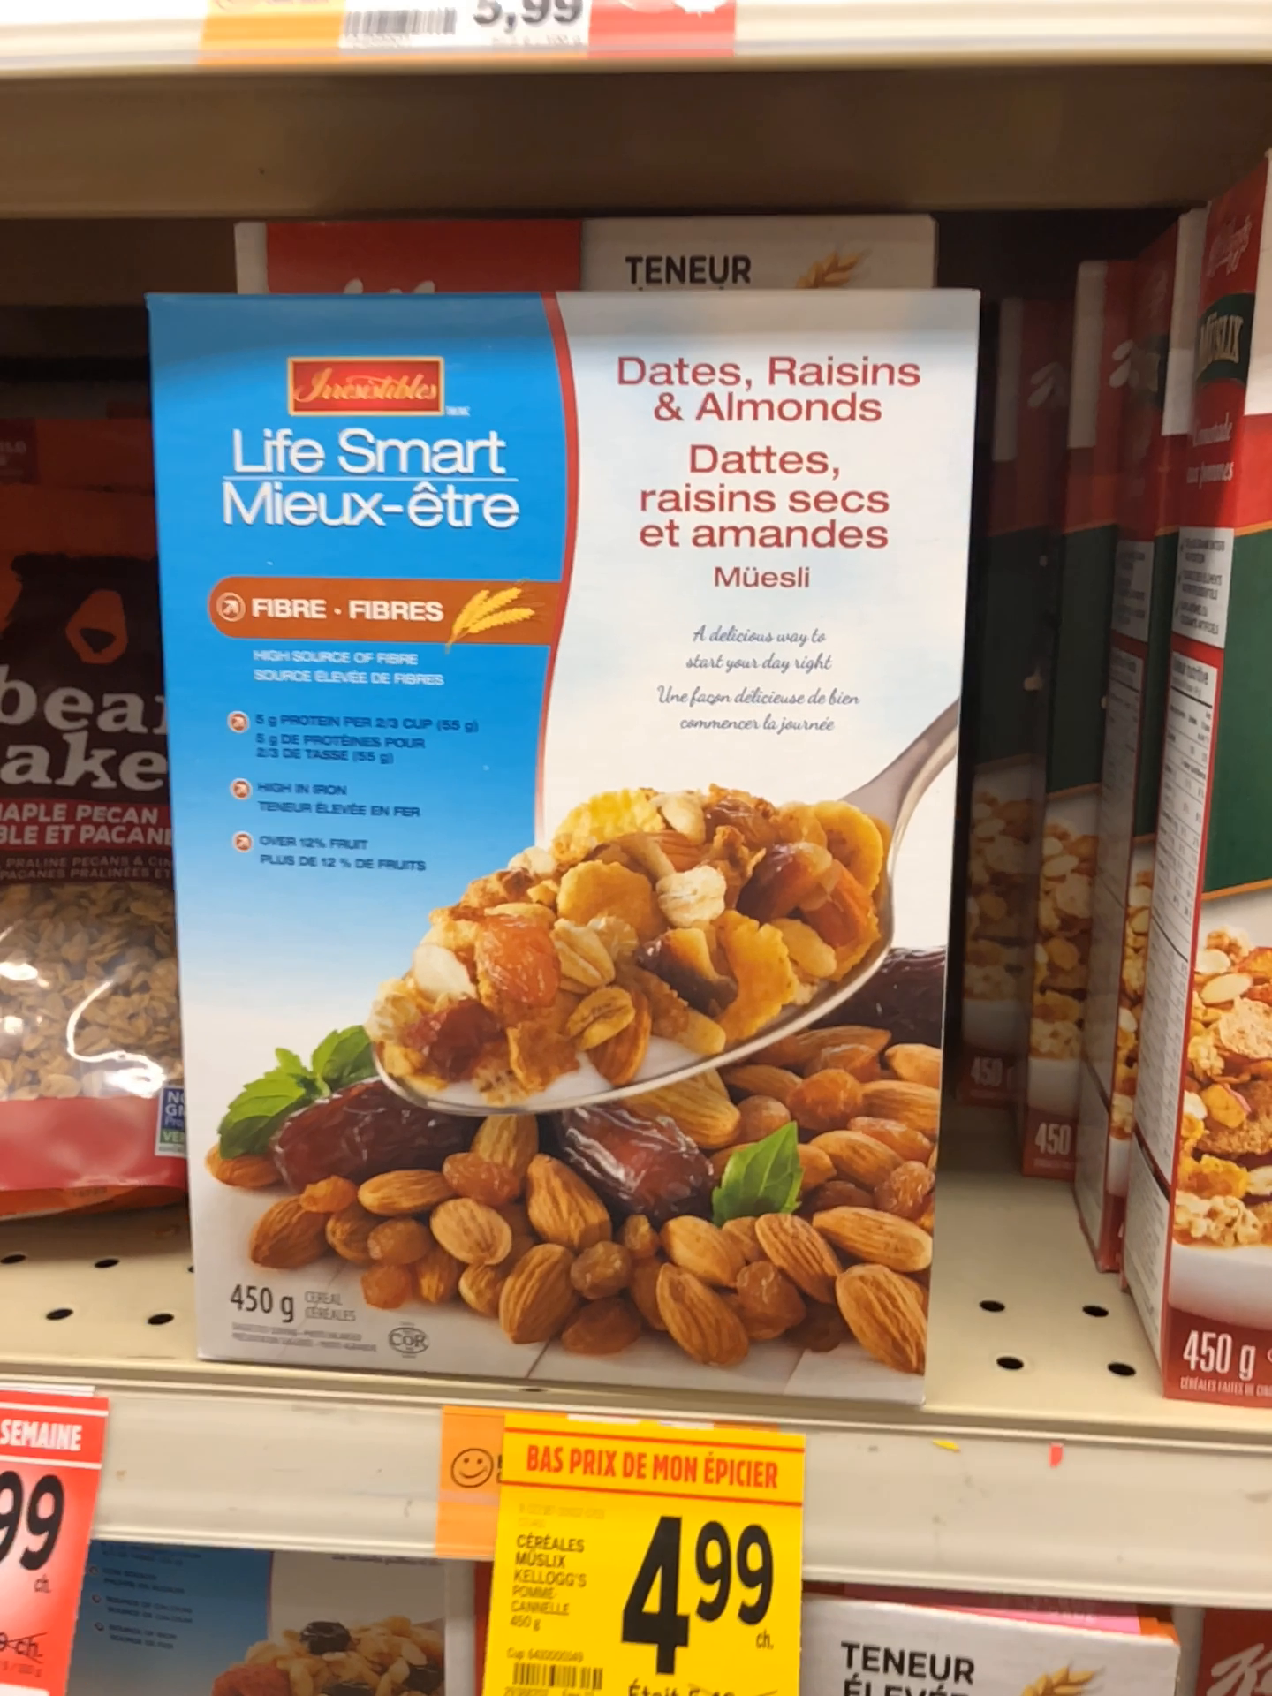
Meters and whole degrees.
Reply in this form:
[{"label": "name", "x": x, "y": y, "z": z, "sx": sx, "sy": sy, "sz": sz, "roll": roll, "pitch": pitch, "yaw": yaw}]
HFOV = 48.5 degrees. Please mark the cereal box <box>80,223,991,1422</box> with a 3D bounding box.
[{"label": "cereal box", "x": -0.019, "y": -0.003, "z": 0.310, "sx": 0.170, "sy": 0.239, "sz": 0.050, "roll": 2, "pitch": 12, "yaw": 6}]
